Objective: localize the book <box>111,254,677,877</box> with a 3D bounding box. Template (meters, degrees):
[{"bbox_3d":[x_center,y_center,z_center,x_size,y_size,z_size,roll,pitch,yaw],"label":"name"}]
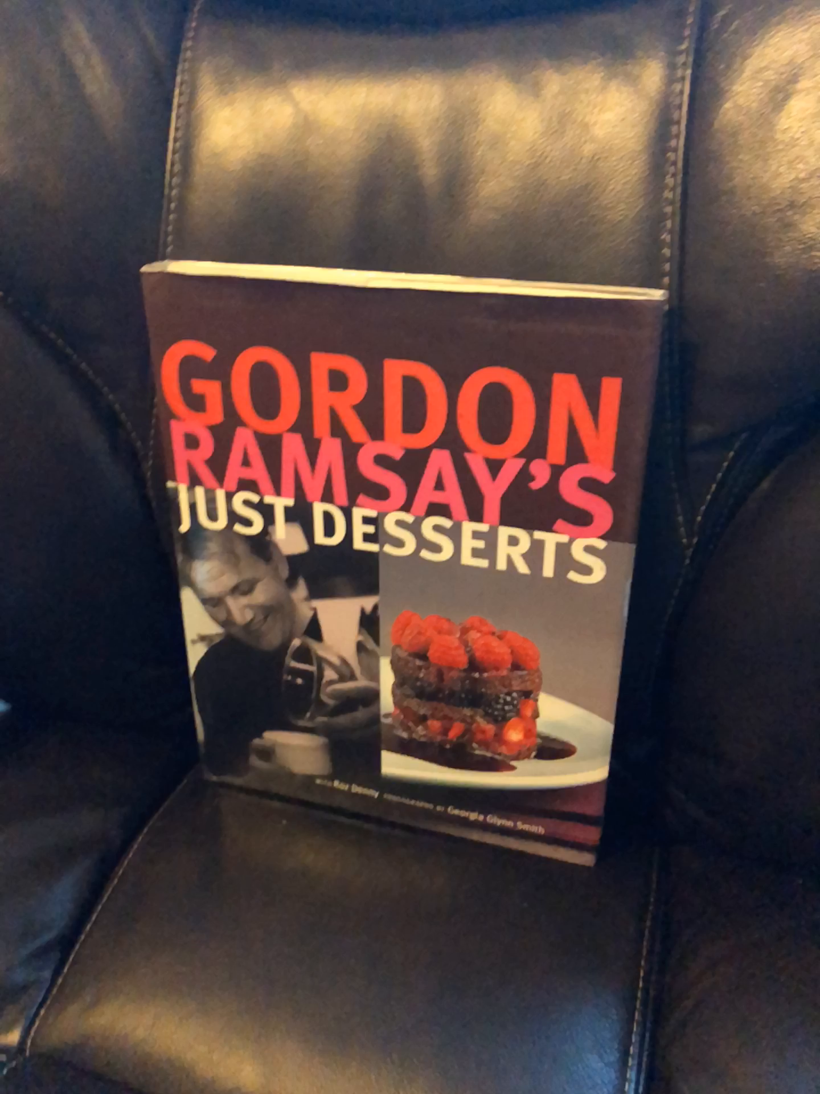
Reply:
[{"bbox_3d":[-0.009,0.018,0.438,0.230,0.293,0.030,8,31,17],"label":"book"}]
